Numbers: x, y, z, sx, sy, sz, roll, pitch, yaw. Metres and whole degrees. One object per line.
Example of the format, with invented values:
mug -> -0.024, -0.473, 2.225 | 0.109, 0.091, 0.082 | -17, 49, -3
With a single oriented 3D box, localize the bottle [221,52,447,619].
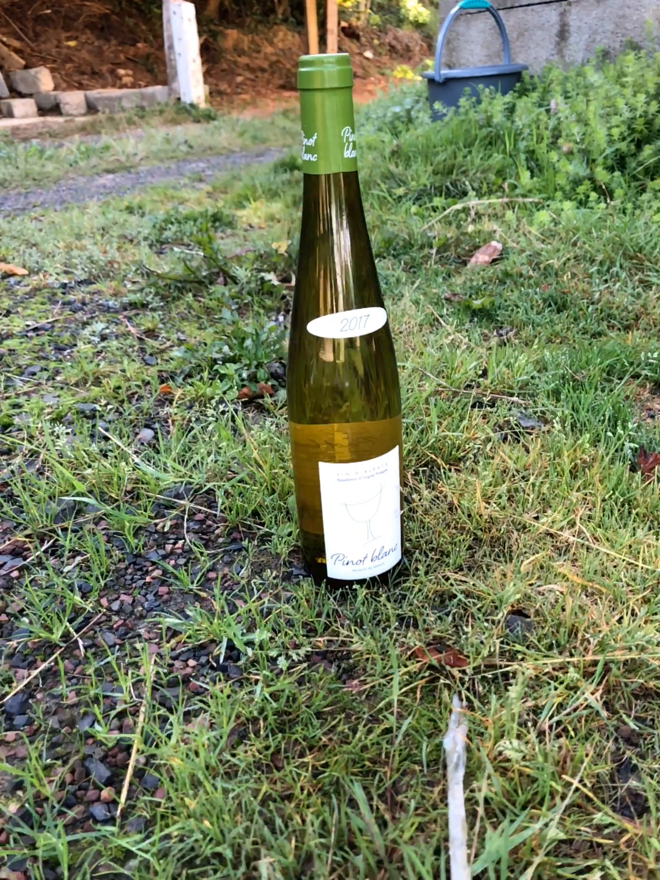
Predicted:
bottle -> 0.010, -0.055, 0.449 | 0.090, 0.318, 0.090 | -4, 26, 2
